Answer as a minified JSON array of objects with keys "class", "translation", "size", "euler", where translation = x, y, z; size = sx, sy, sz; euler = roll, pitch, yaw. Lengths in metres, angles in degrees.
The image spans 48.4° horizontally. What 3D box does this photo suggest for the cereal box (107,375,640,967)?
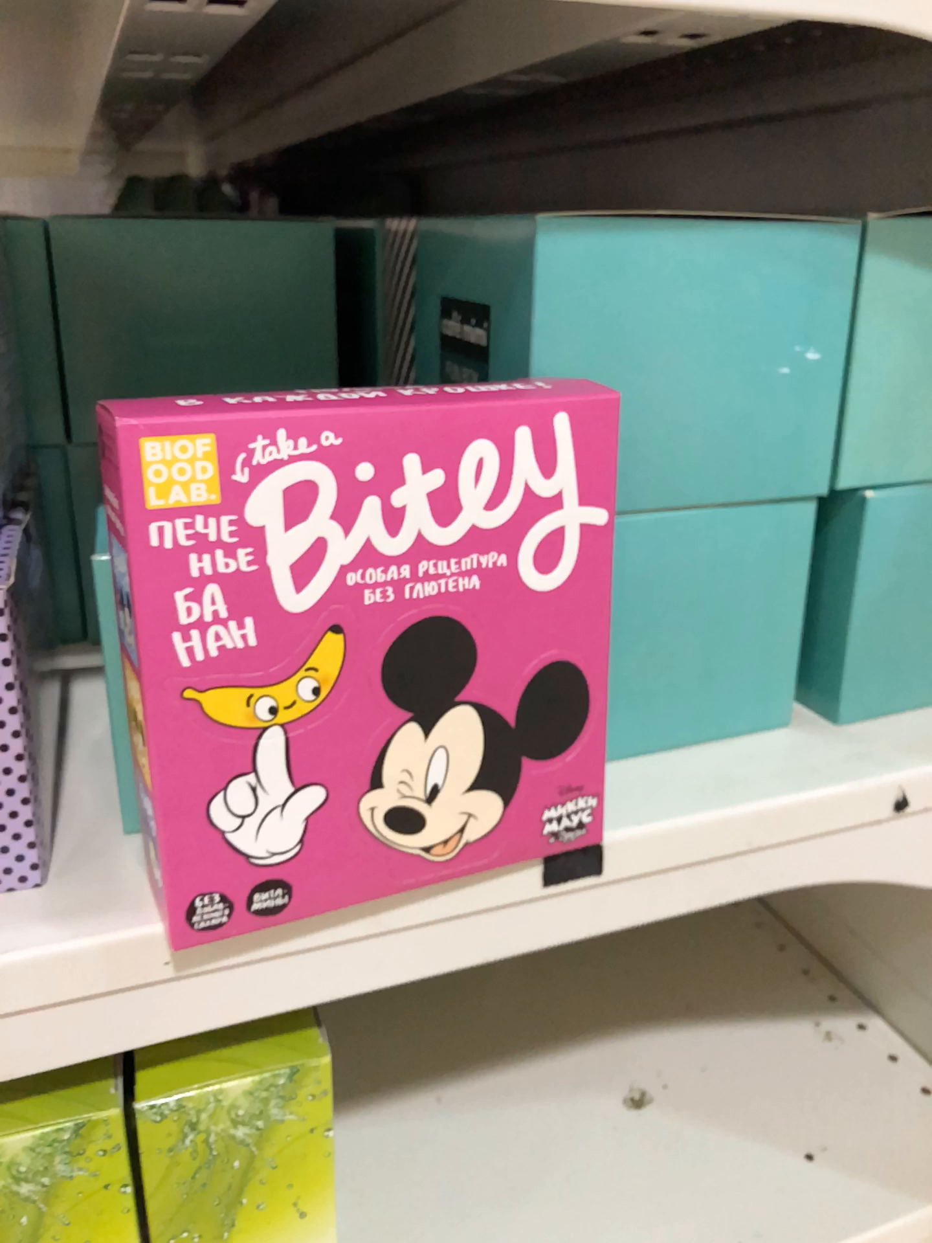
[{"class":"cereal box","translation":[-0.023,0.008,0.306],"size":[0.140,0.149,0.040],"euler":[-8,20,-25]}]
